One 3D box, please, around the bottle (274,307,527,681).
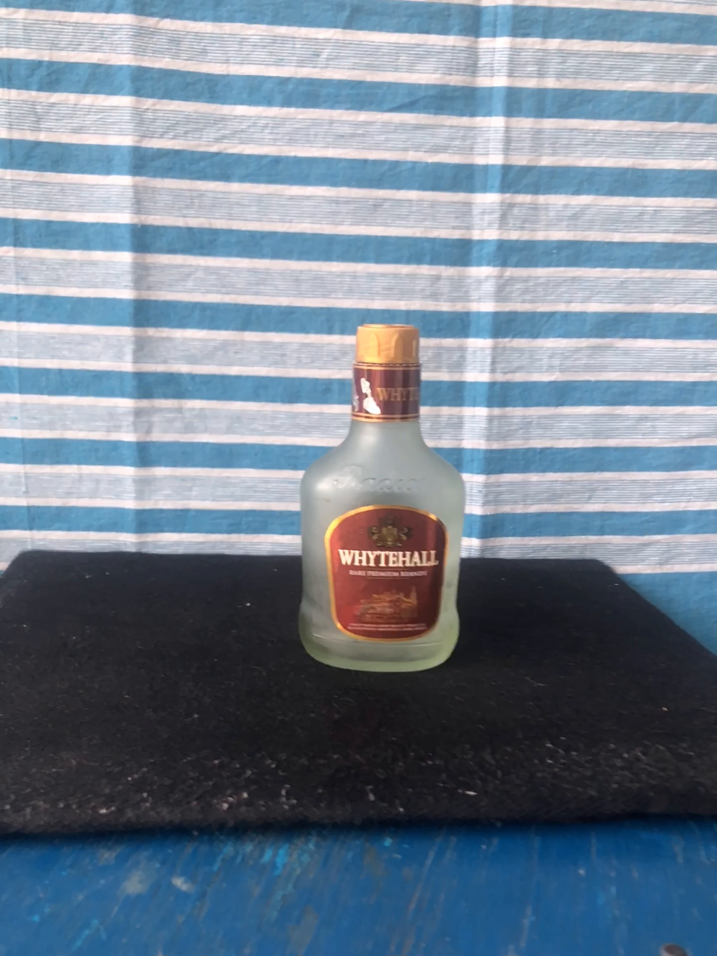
[{"bbox_3d":[0.012,0.003,0.311,0.080,0.130,0.060,3,13,-2],"label":"bottle"}]
